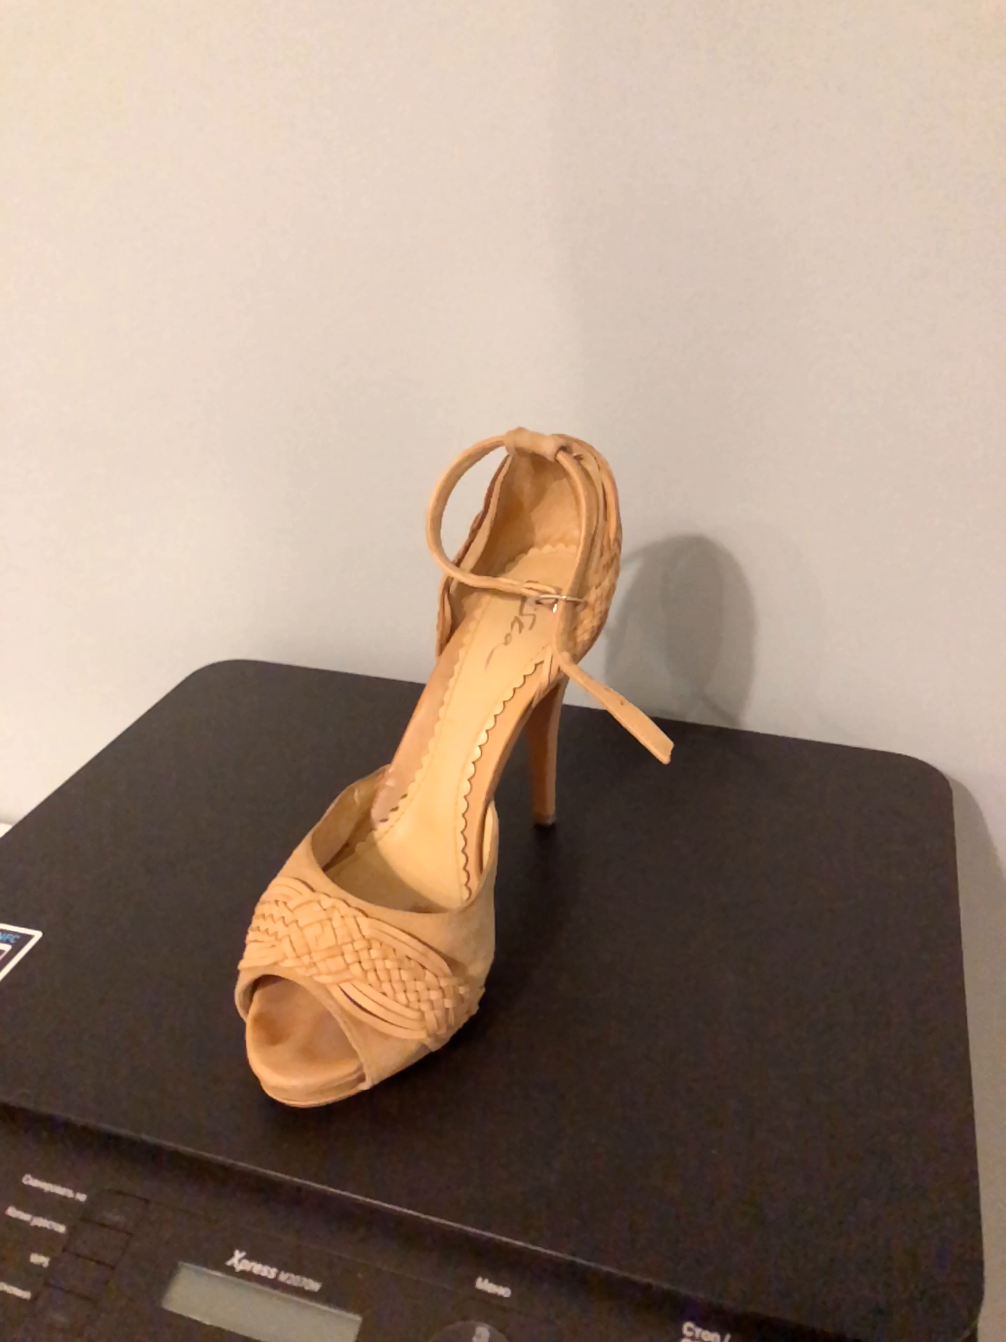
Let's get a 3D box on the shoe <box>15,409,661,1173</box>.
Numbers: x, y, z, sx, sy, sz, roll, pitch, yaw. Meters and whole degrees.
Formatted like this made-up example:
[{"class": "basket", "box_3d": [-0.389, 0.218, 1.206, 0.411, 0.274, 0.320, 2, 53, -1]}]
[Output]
[{"class": "shoe", "box_3d": [-0.033, 0.020, 0.391, 0.090, 0.159, 0.221, 14, 32, 26]}]
